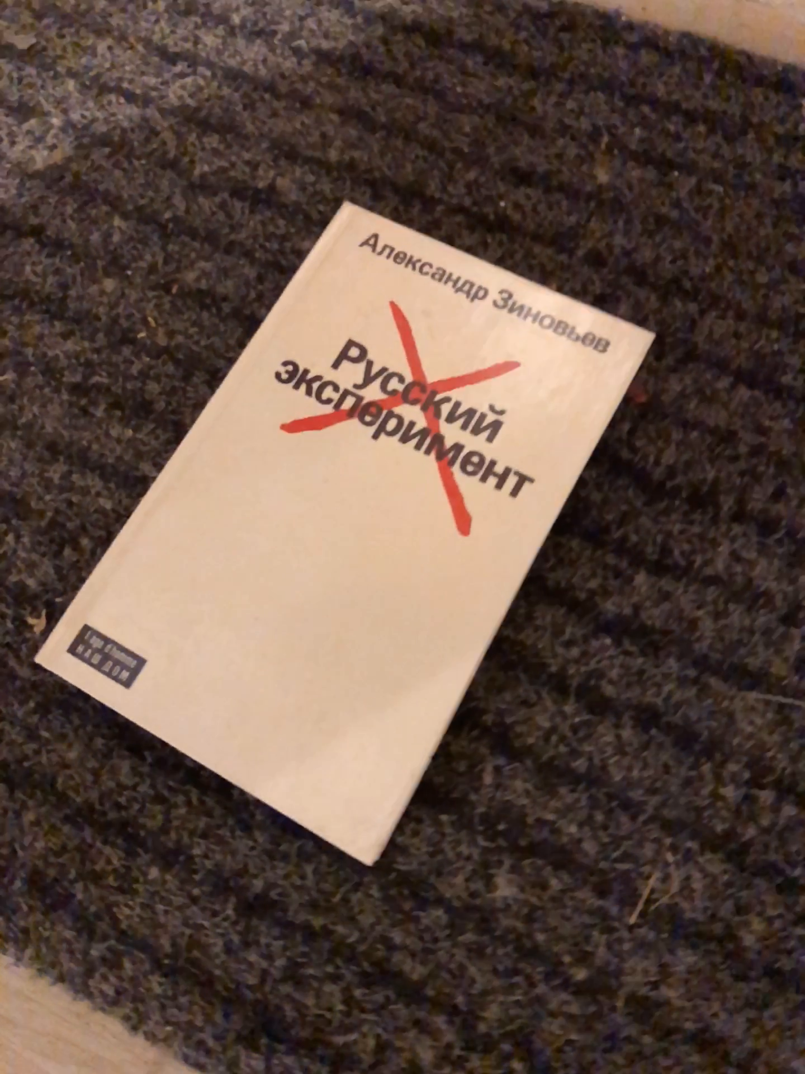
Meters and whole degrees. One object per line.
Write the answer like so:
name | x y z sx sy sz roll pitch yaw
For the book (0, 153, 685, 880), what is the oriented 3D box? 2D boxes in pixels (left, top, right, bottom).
book | -0.012 -0.015 0.277 0.120 0.040 0.190 28 75 13
